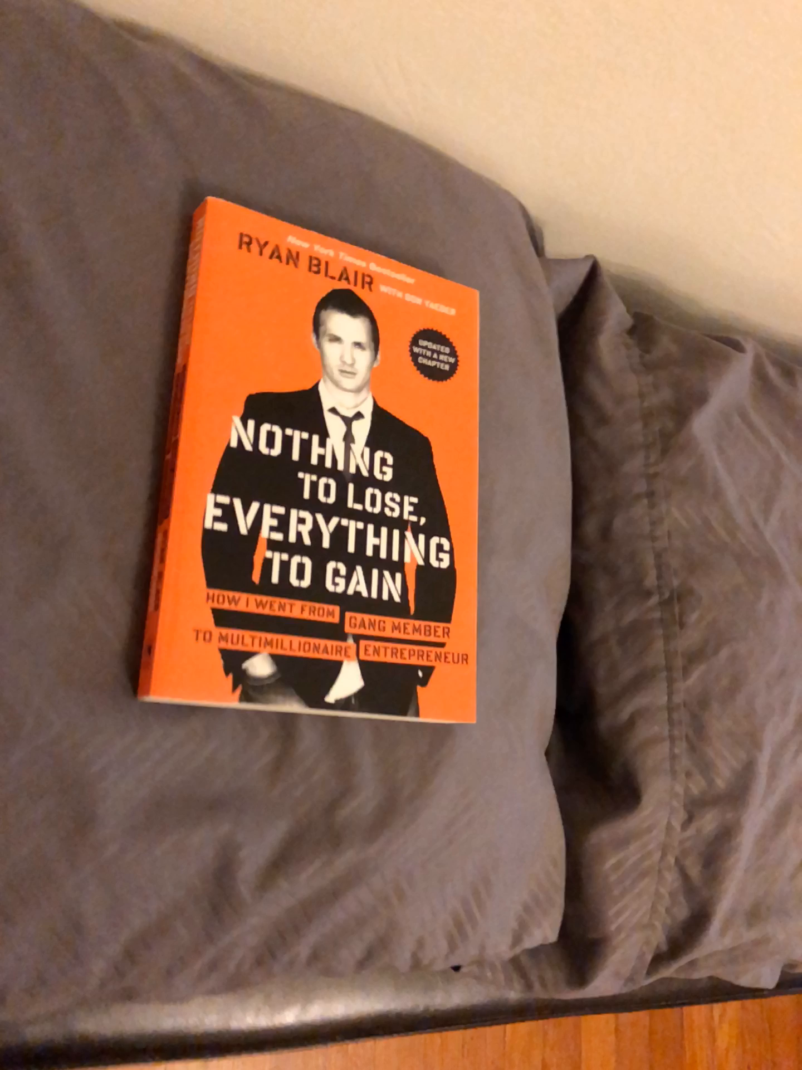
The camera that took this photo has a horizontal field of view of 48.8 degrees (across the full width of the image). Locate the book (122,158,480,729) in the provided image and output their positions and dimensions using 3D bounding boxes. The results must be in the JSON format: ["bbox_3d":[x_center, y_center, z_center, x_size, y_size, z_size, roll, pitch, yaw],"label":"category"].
[{"bbox_3d":[-0.032,-0.037,0.395,0.150,0.020,0.230,12,70,-30],"label":"book"}]
